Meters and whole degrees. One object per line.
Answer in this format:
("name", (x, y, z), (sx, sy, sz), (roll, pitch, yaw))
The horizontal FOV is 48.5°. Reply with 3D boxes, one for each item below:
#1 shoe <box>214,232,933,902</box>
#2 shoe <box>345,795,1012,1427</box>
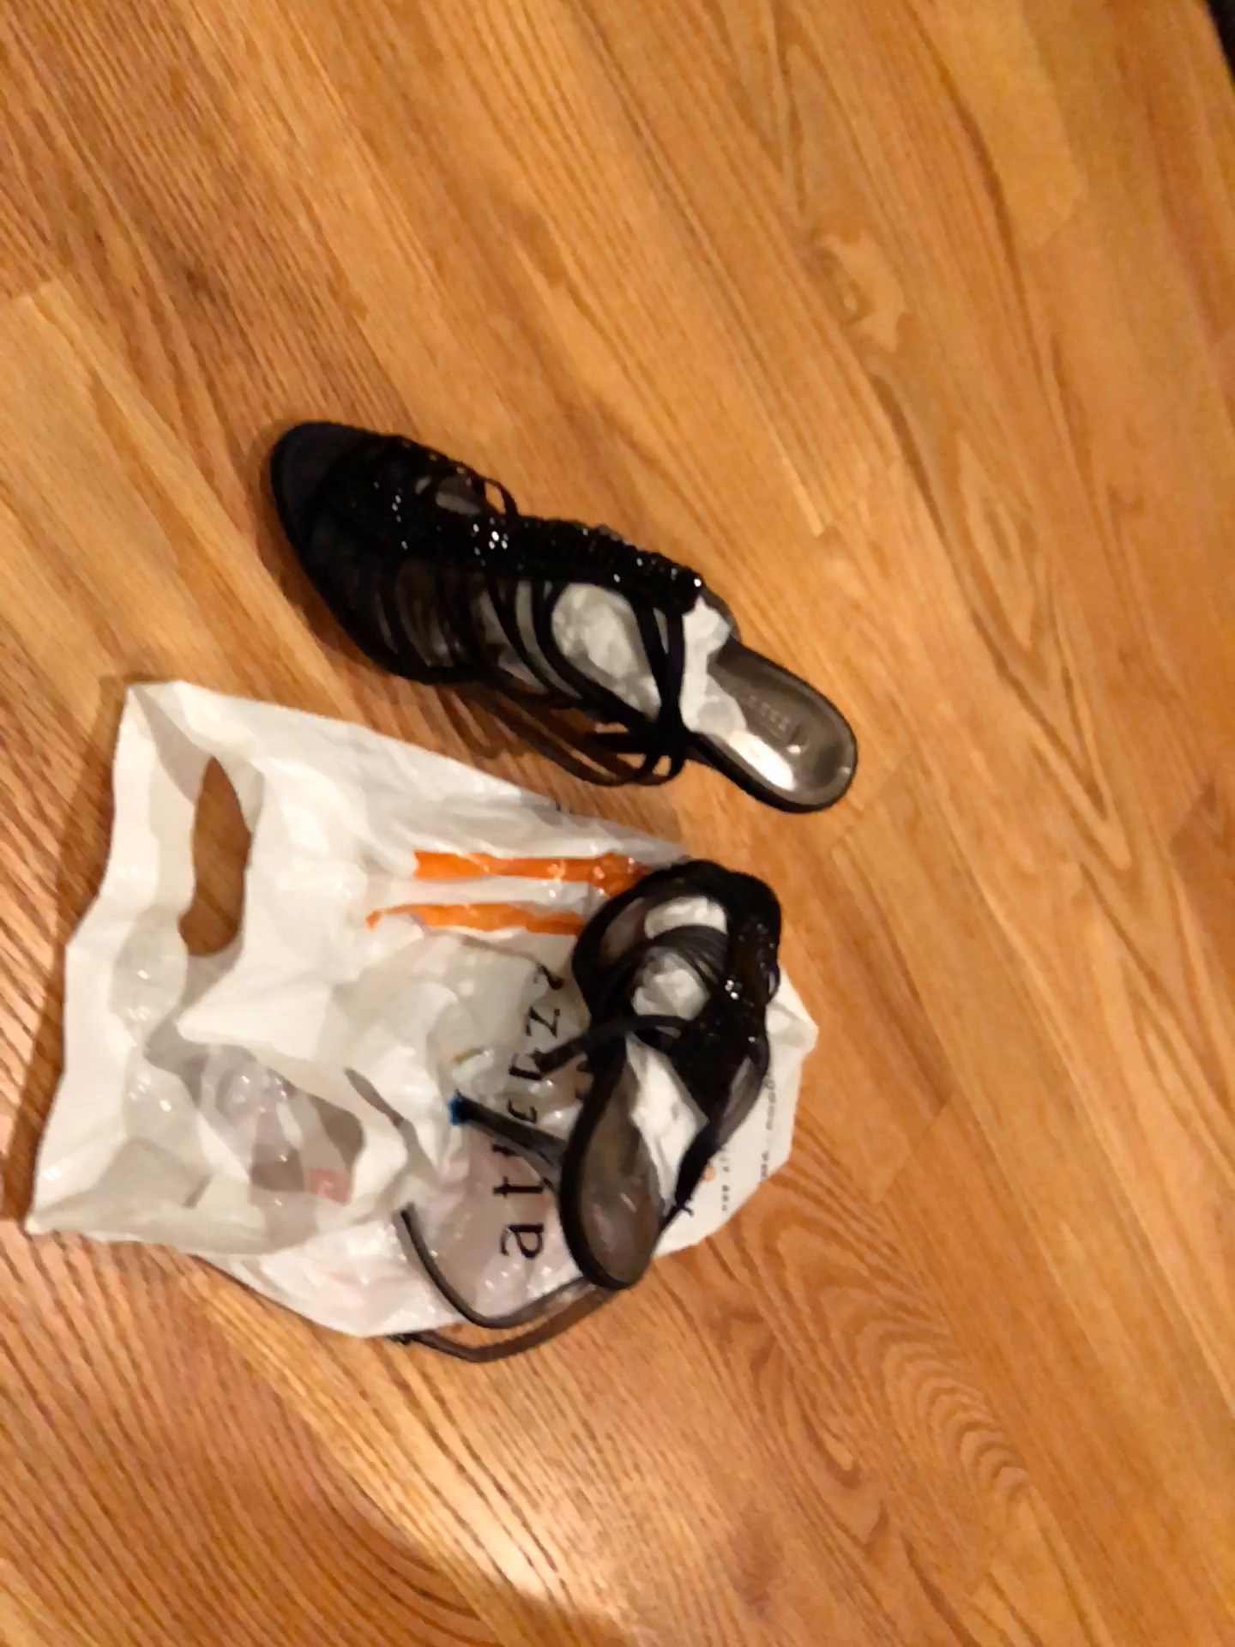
("shoe", (-0.006, -0.070, 0.477), (0.218, 0.113, 0.090), (42, 63, -33))
("shoe", (0.031, 0.087, 0.505), (0.218, 0.113, 0.092), (-41, 115, -35))
